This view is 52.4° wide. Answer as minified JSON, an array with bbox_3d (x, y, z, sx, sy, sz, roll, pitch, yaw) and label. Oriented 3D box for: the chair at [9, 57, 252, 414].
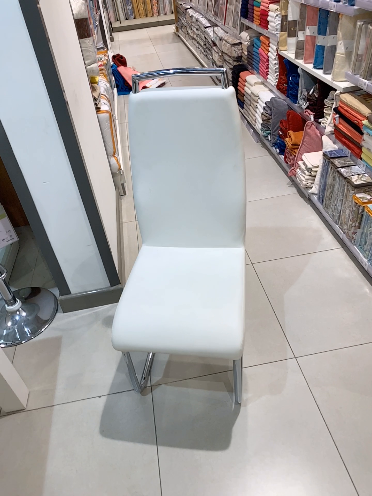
[{"bbox_3d":[-0.036,0.010,1.248,0.480,1.025,0.522,1,39,11],"label":"chair"}]
